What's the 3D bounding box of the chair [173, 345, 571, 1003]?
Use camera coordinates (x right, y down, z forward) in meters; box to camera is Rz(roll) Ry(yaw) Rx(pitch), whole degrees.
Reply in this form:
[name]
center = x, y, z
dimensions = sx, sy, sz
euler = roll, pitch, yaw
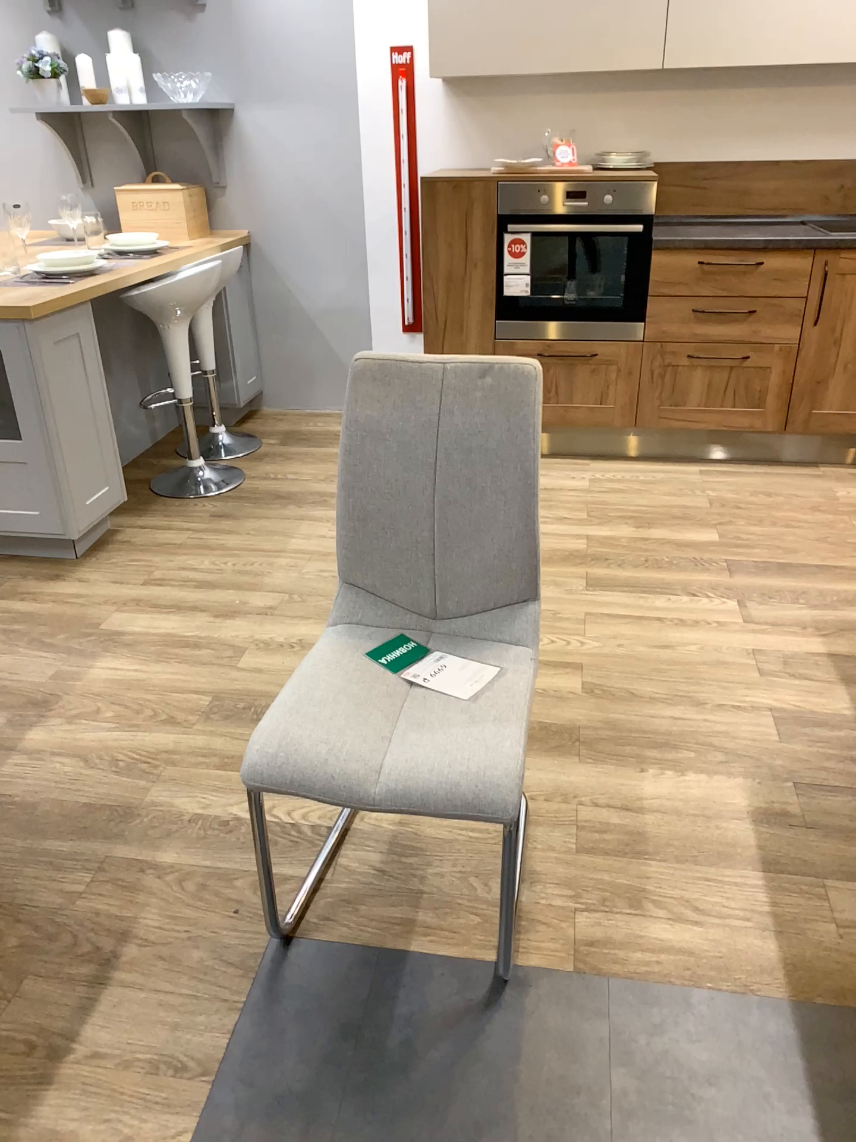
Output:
[chair]
center = -0.033, 0.156, 1.587
dimensions = 0.490, 0.985, 0.573
euler = 4, 27, 11
